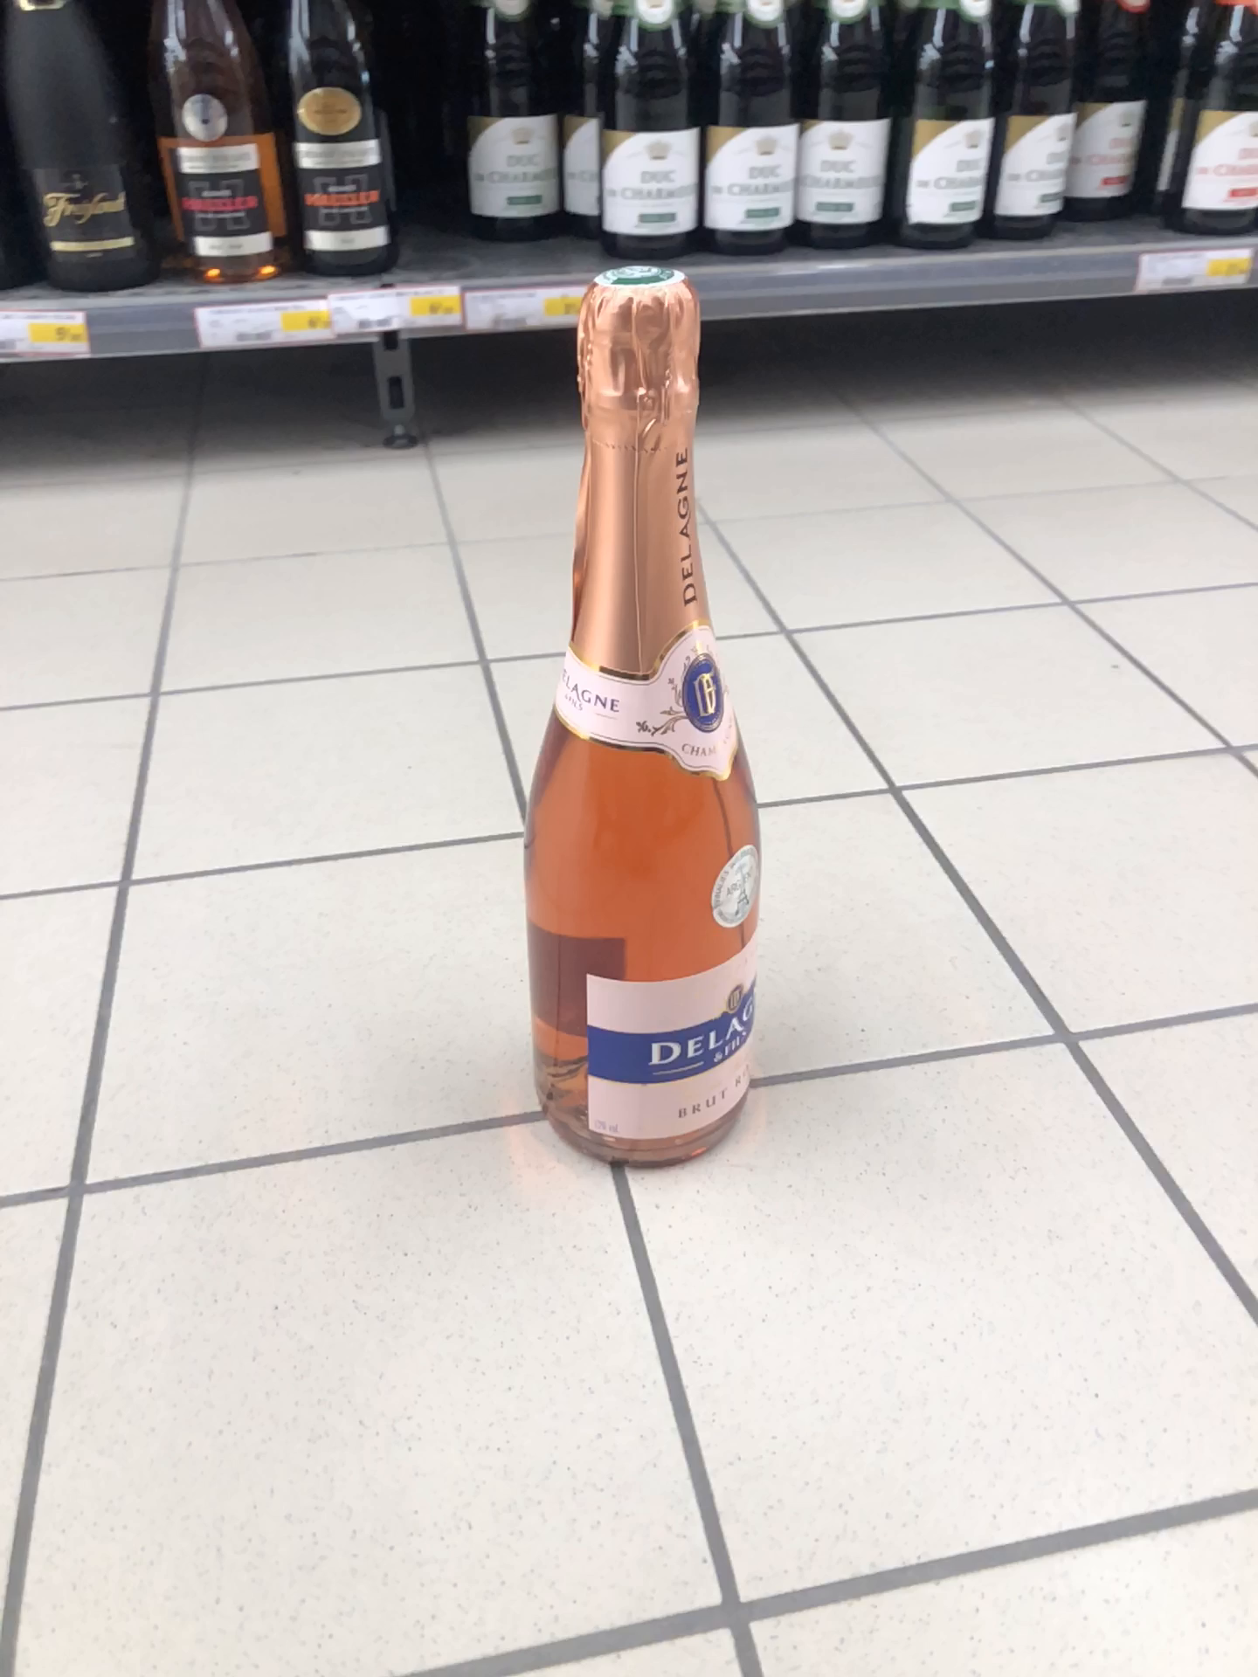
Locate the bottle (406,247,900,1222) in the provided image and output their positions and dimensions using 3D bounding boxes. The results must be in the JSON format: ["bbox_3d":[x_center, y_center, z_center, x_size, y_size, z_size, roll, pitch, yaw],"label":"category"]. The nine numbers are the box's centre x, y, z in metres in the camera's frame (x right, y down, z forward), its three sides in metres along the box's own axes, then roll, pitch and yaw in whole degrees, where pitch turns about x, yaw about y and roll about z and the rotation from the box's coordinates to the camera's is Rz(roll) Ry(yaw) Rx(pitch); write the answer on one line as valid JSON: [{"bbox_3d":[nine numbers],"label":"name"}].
[{"bbox_3d":[0.008,-0.027,0.453,0.090,0.288,0.101,28,42,36],"label":"bottle"}]
